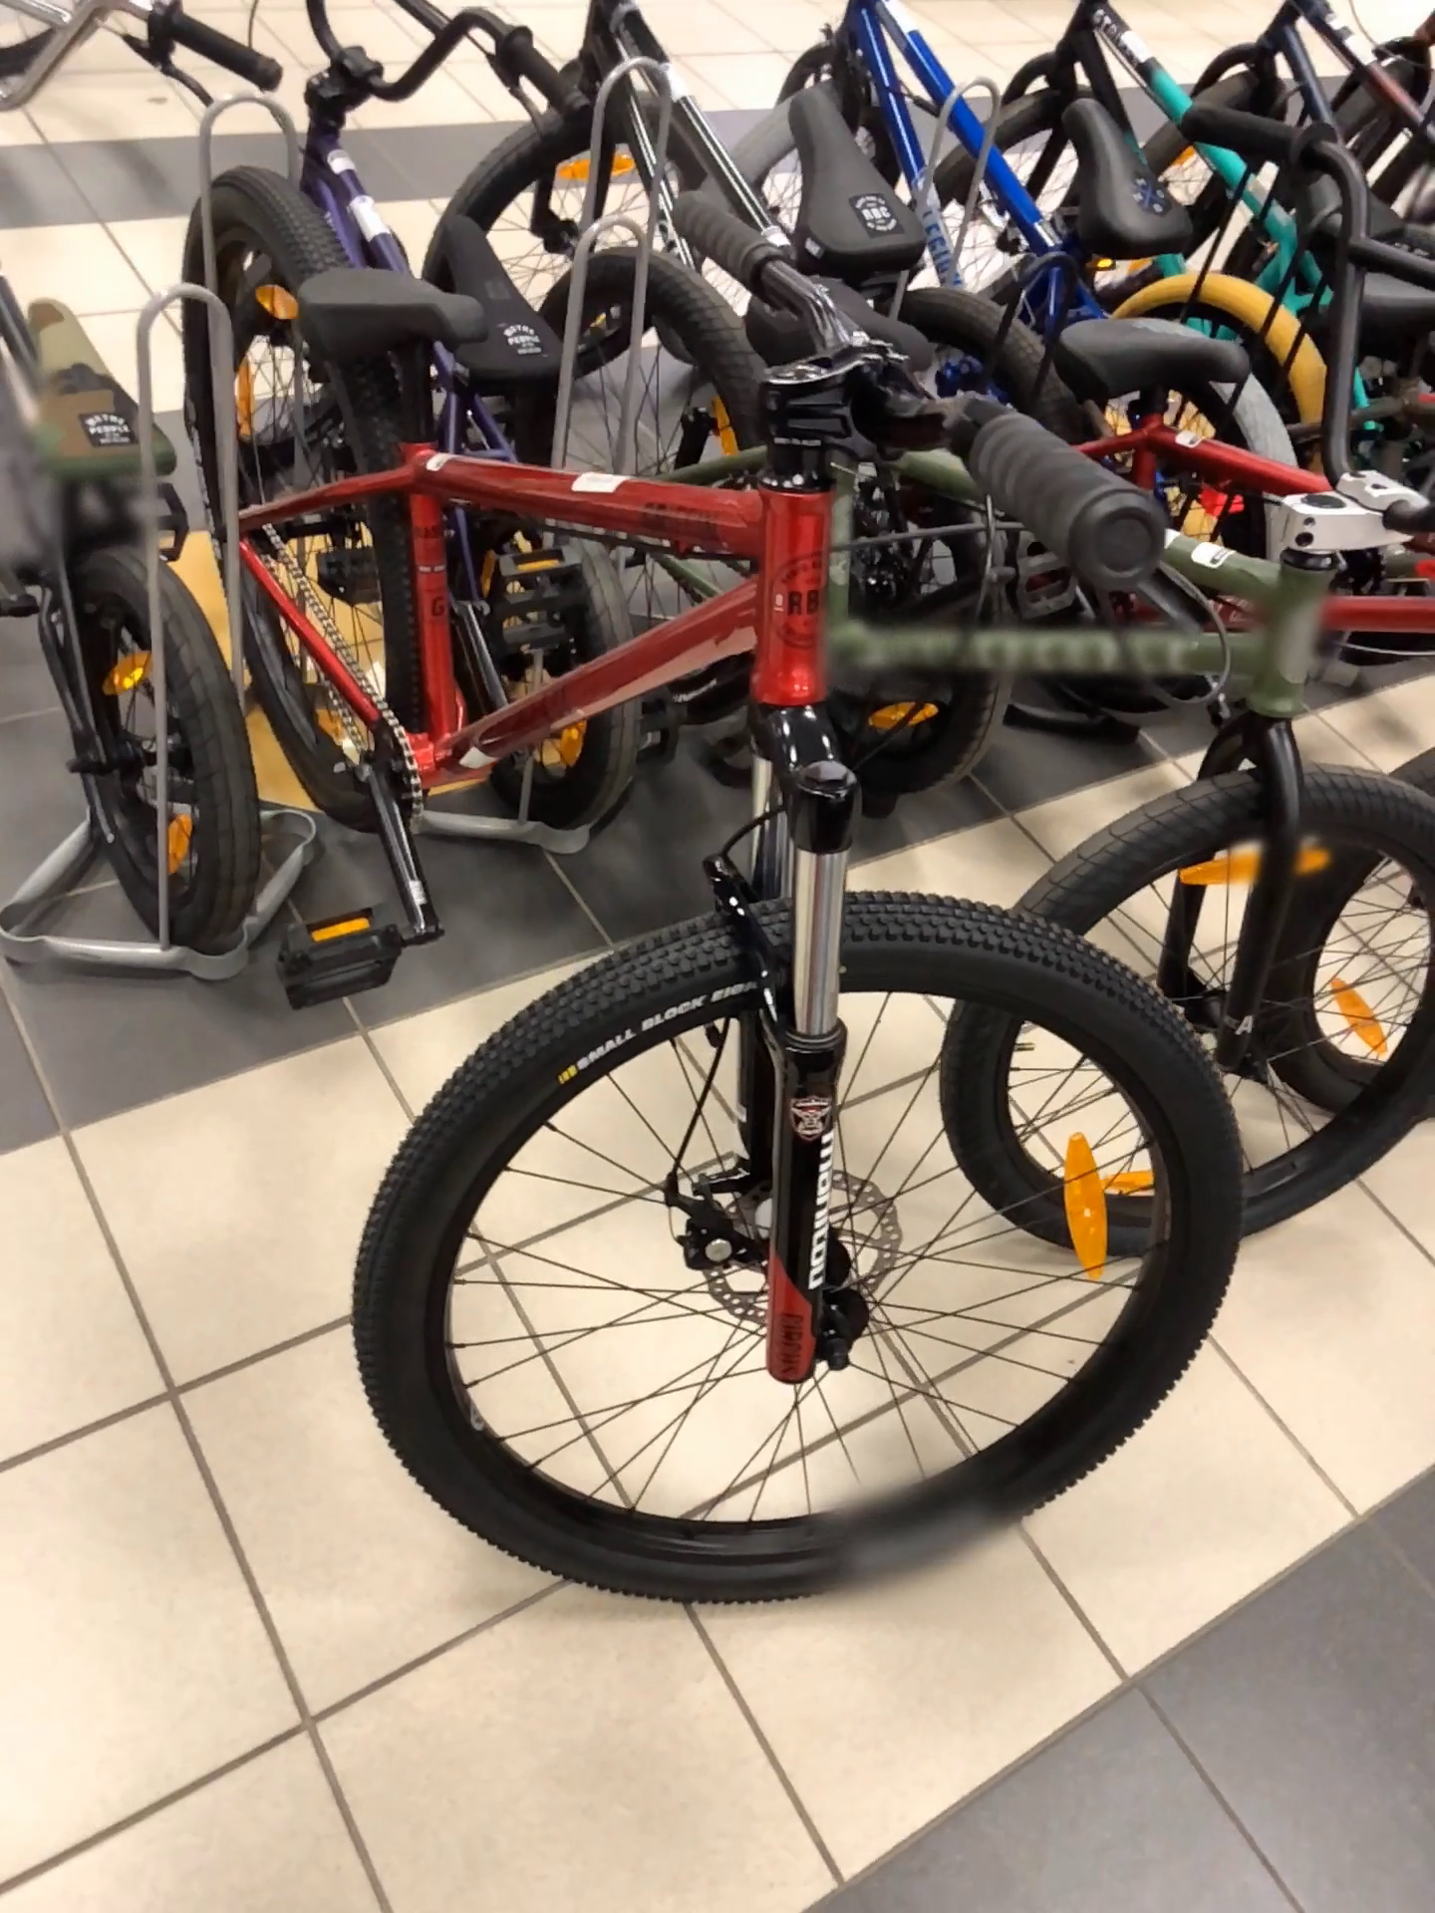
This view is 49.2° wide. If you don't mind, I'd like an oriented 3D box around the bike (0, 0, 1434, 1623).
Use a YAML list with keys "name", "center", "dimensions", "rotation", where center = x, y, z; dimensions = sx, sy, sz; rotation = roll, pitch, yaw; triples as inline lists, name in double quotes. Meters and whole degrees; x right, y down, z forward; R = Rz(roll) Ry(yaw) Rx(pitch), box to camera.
- name: "bike"
  center: [-0.157, -0.347, 1.305]
  dimensions: [0.713, 0.998, 1.339]
  rotation: [-26, 57, -33]
